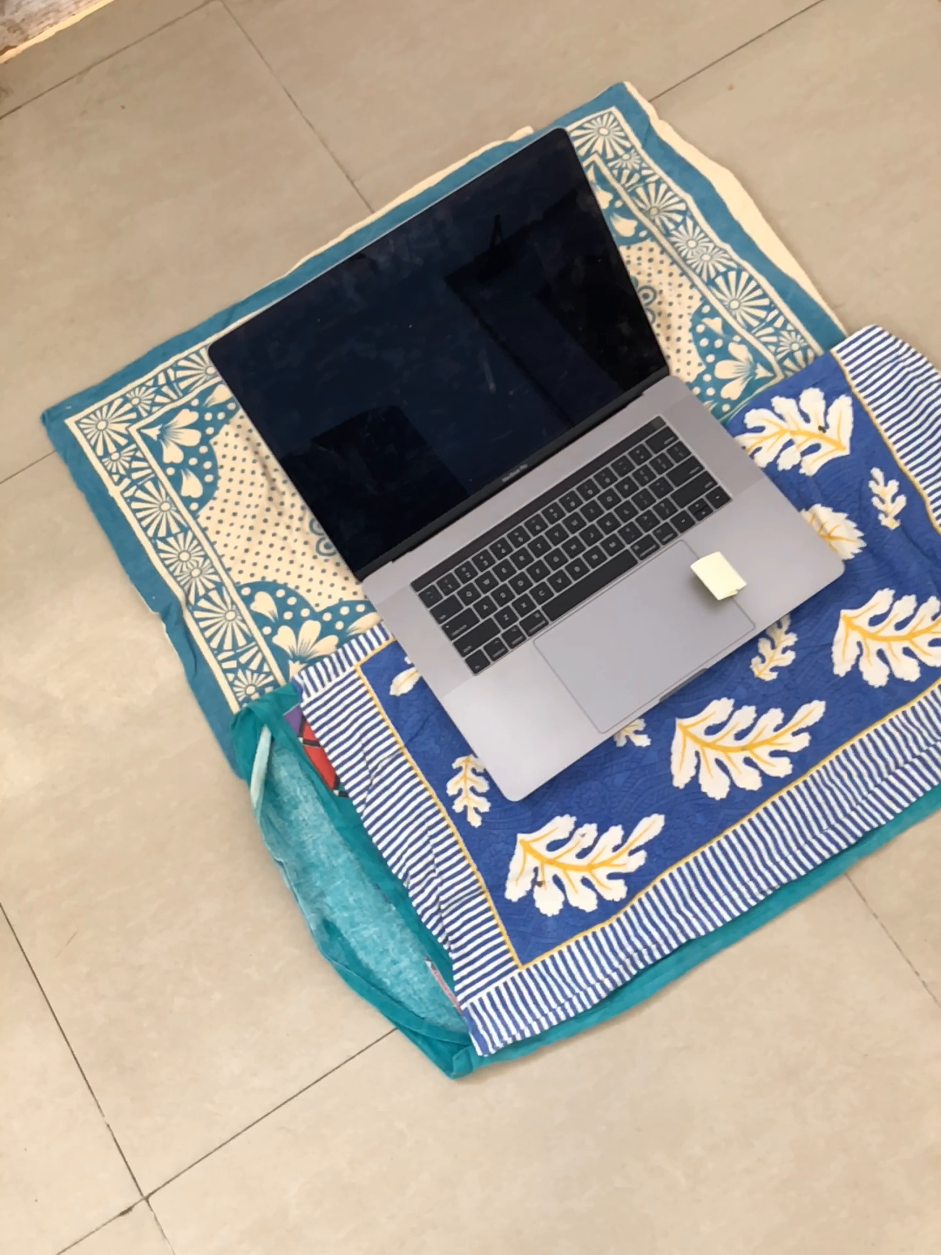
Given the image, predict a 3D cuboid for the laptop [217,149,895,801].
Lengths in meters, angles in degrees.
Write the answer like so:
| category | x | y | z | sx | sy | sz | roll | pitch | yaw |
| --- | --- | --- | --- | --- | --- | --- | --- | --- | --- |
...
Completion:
| category | x | y | z | sx | sy | sz | roll | pitch | yaw |
| --- | --- | --- | --- | --- | --- | --- | --- | --- | --- |
| laptop | 0.055 | -0.127 | 0.841 | 0.336 | 0.132 | 0.401 | -34 | 74 | -6 |
